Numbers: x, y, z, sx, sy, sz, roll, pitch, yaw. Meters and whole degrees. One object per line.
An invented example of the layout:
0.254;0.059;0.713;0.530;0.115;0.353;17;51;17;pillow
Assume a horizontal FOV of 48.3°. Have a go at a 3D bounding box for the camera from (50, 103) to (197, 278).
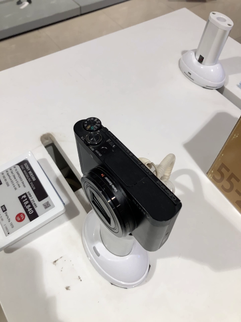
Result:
-0.004;0.021;0.195;0.030;0.070;0.110;-32;63;-22;camera
